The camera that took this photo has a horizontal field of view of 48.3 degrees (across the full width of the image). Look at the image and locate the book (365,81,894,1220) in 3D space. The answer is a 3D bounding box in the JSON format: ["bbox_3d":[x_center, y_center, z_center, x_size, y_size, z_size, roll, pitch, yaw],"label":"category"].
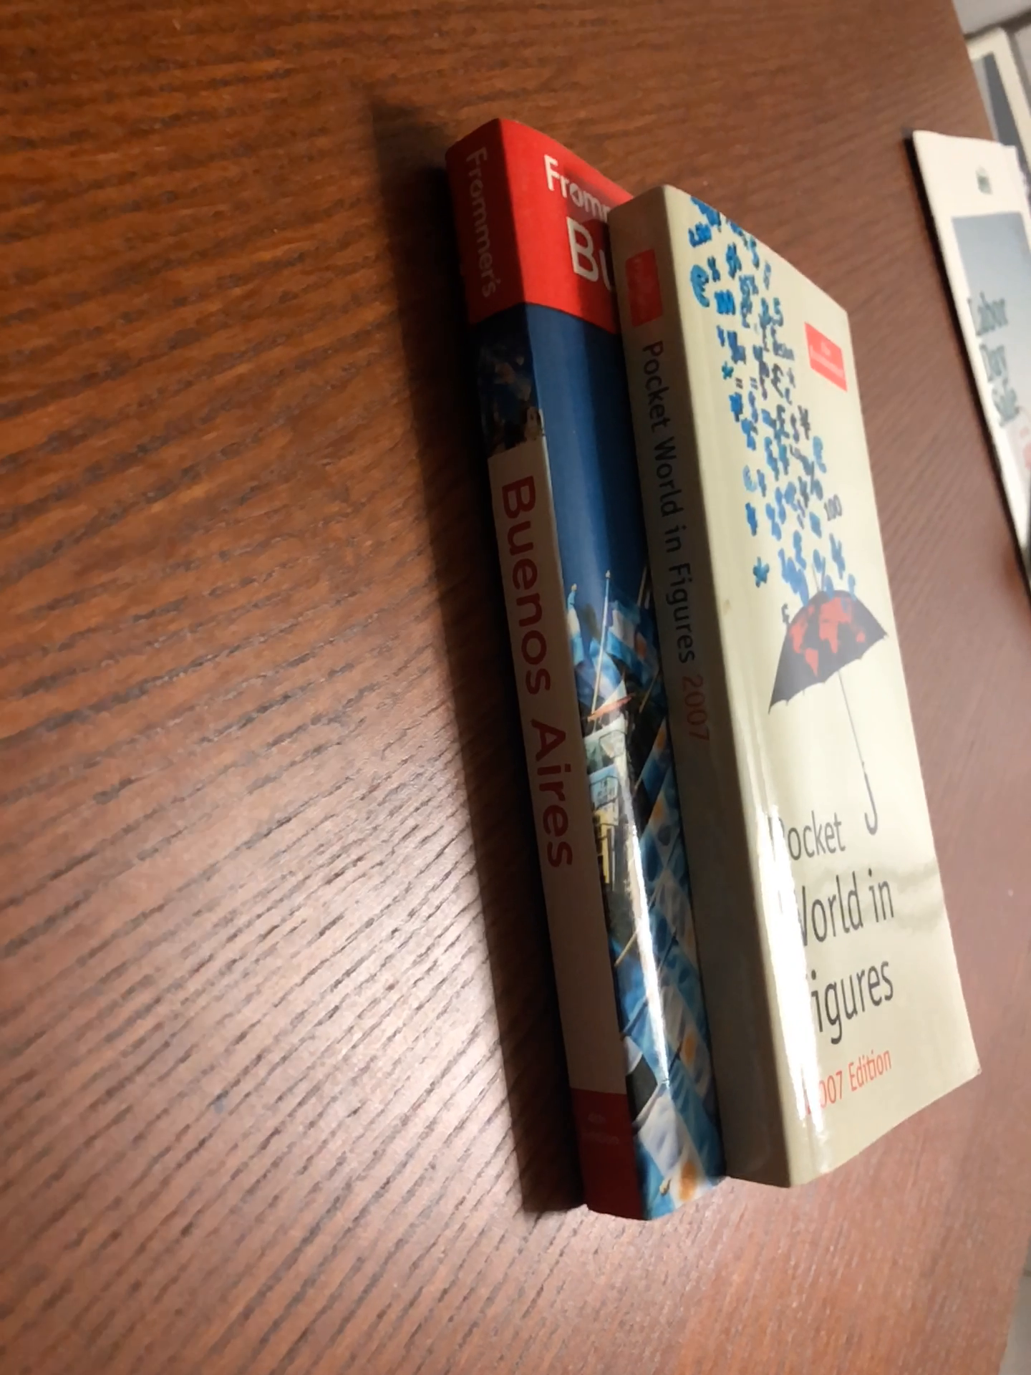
[{"bbox_3d":[0.036,-0.011,0.269,0.141,0.020,0.210,-1,81,-51],"label":"book"}]

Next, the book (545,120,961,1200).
[{"bbox_3d":[0.056,-0.008,0.255,0.101,0.020,0.200,3,79,-51],"label":"book"}]
